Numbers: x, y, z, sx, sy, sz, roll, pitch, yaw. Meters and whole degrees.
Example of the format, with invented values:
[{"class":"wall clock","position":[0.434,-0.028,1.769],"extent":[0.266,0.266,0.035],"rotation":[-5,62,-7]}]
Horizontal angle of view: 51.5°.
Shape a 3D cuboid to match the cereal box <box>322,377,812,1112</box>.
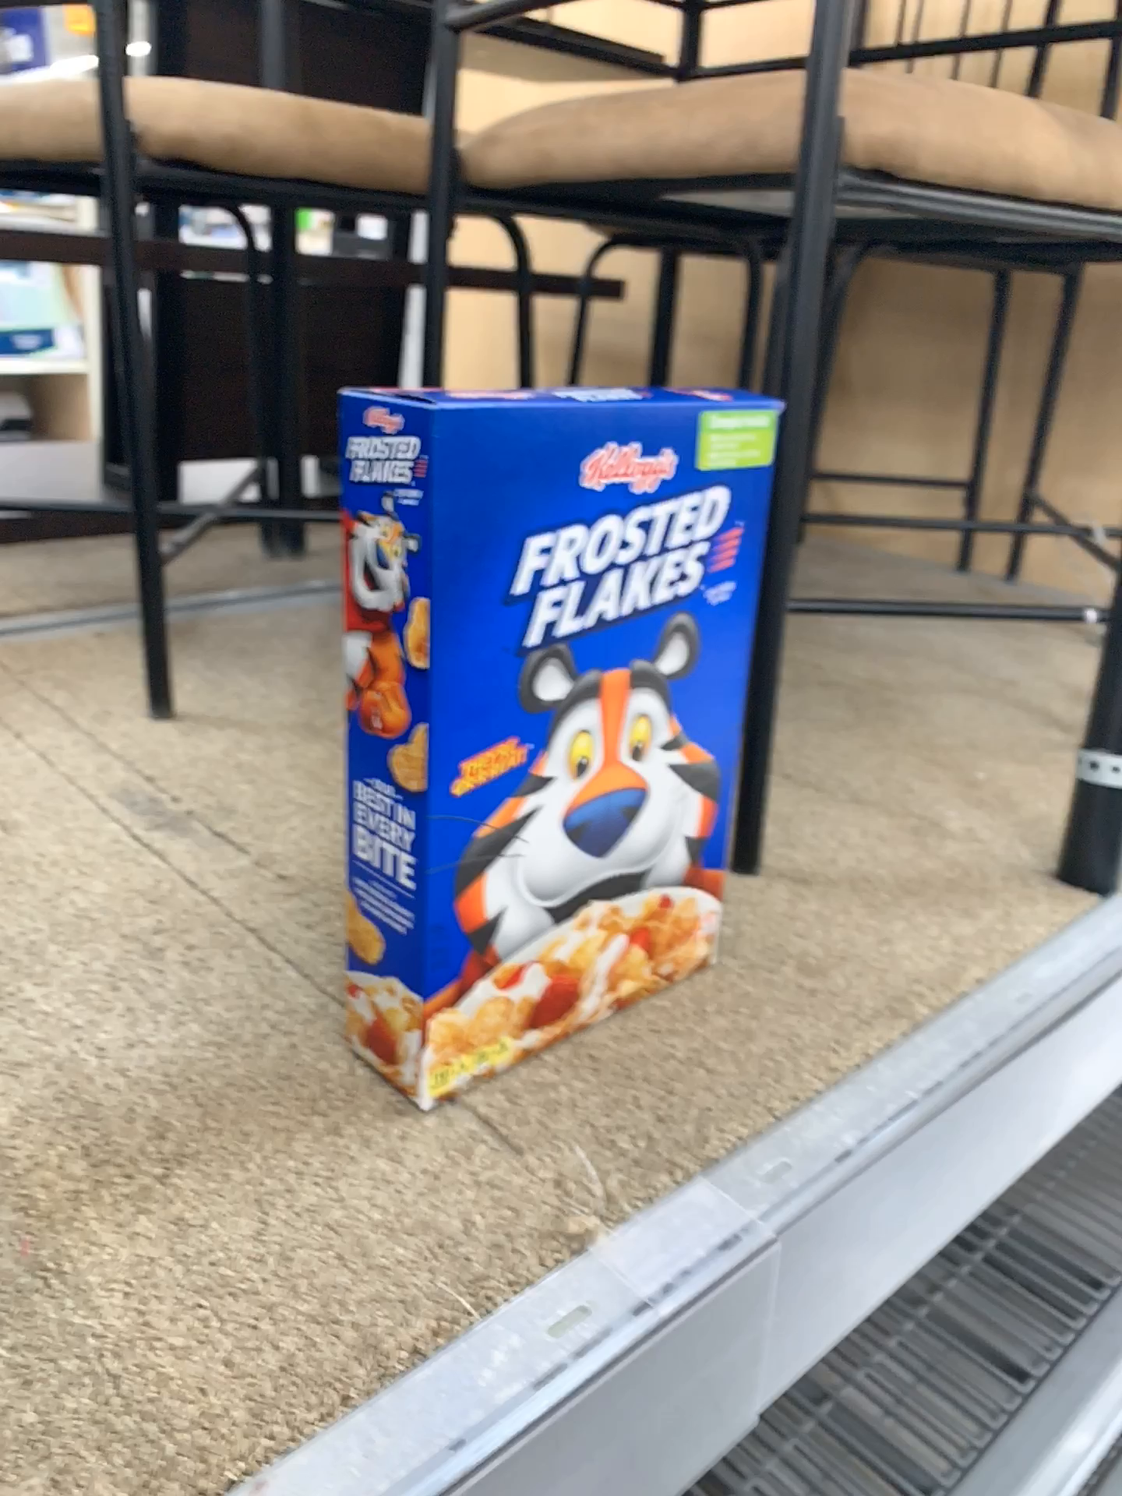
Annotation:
[{"class":"cereal box","position":[0.003,-0.014,0.529],"extent":[0.211,0.289,0.070],"rotation":[-15,28,-40]}]
